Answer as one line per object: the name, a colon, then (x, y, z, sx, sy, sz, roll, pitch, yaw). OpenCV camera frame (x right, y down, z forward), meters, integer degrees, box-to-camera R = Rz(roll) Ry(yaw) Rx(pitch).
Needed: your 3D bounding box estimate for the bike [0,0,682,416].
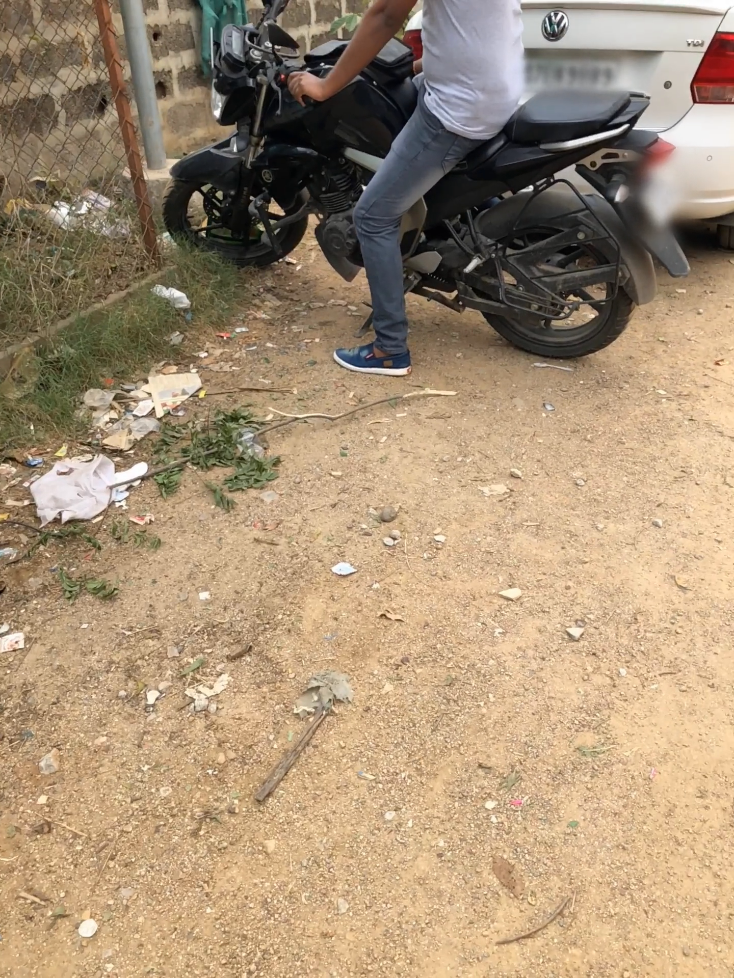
bike: (-0.059, -1.017, 2.297, 1.617, 1.095, 0.530, 14, 37, 15)
